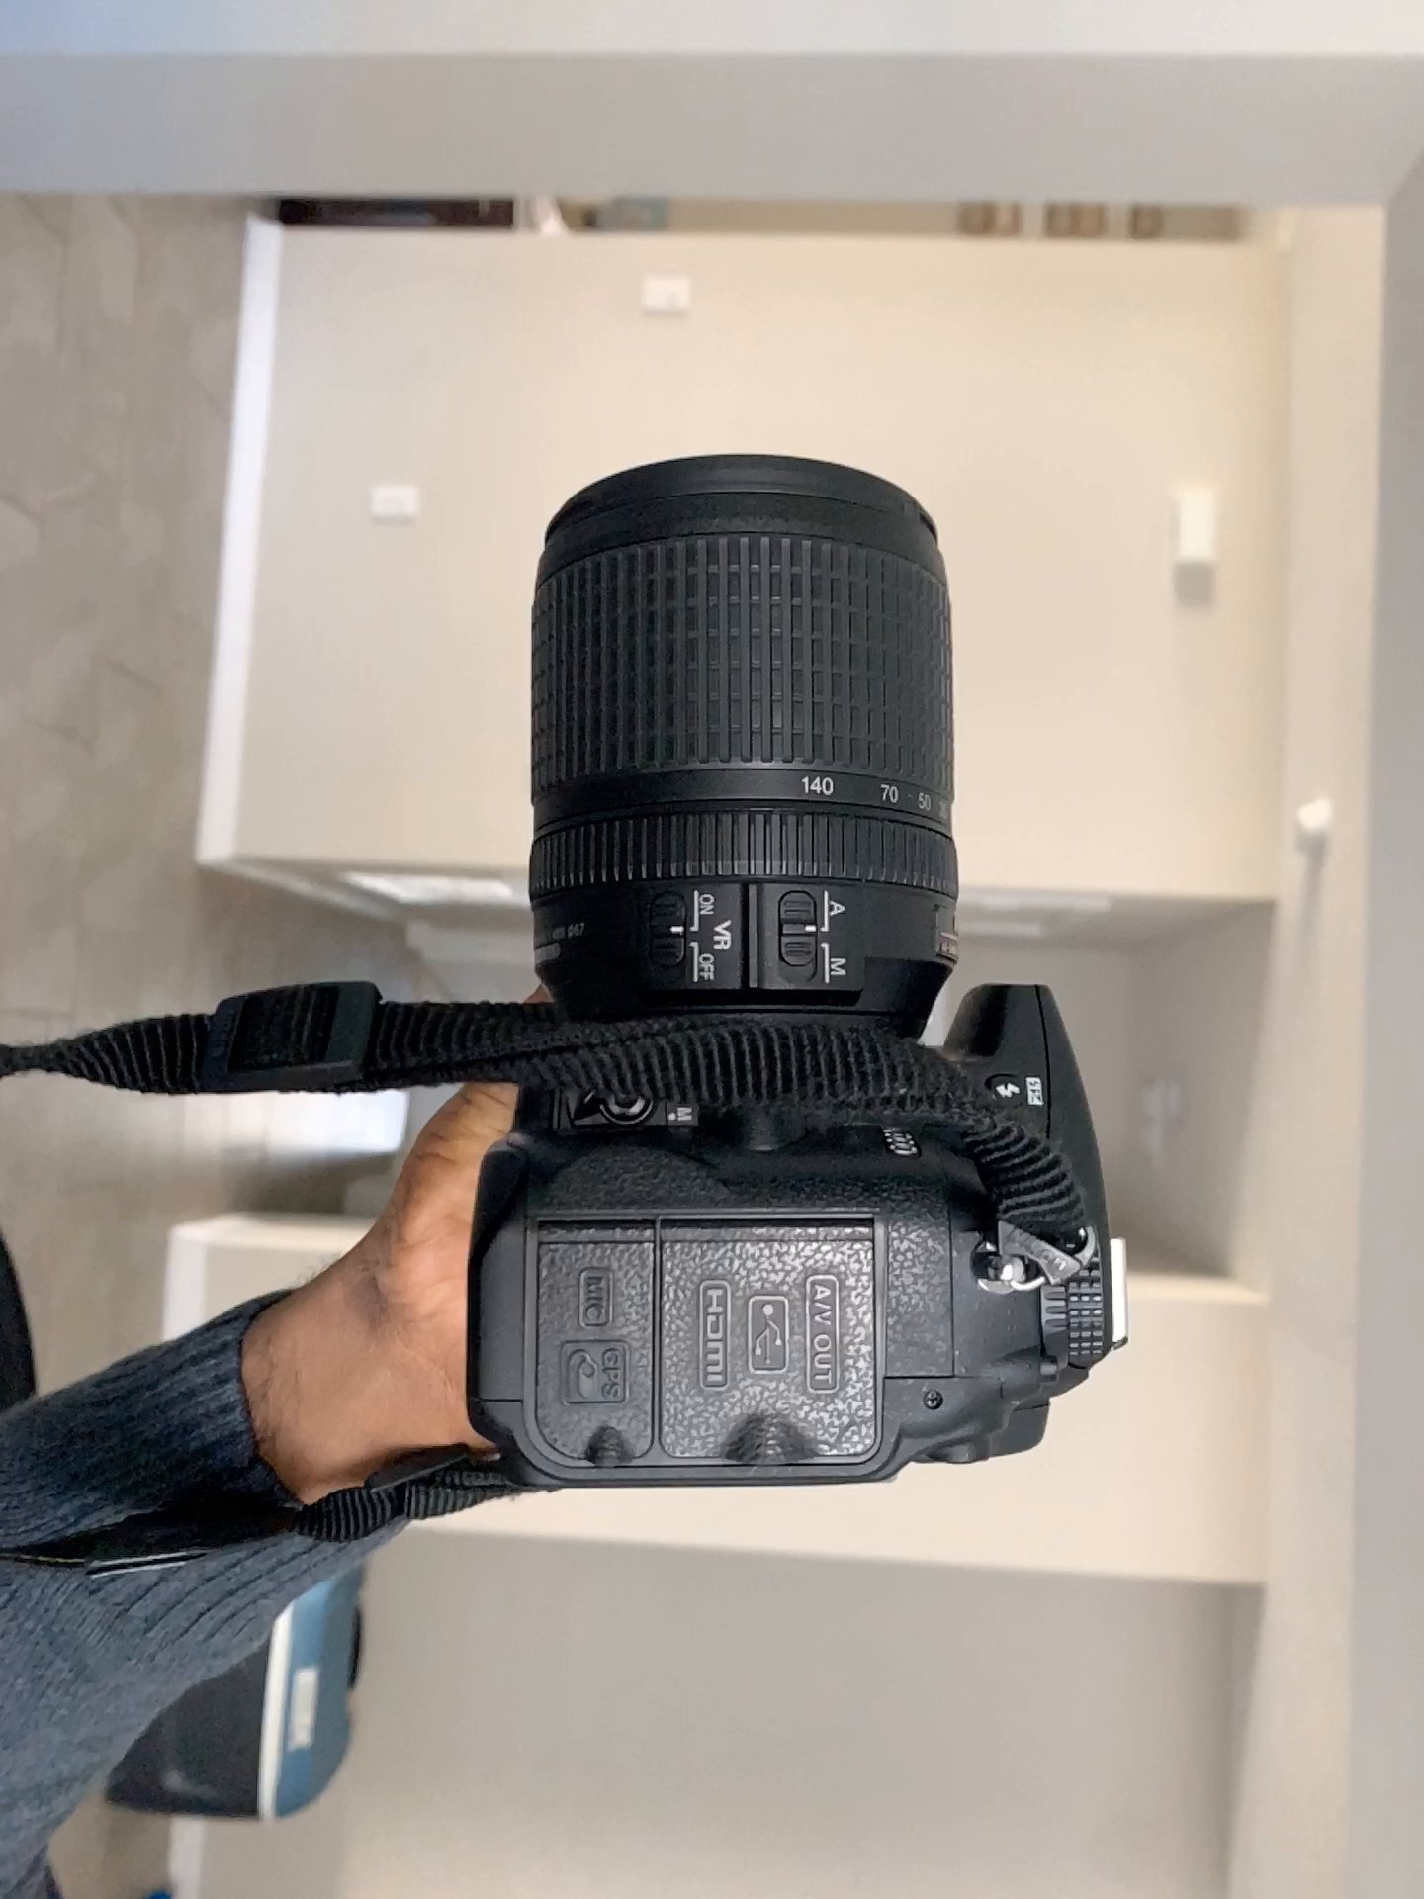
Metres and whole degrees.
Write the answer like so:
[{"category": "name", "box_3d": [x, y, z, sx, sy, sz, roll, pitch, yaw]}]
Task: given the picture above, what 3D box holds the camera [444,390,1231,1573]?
[{"category": "camera", "box_3d": [0.015, 0.007, 0.297, 0.160, 0.114, 0.170, 139, -48, -85]}]
